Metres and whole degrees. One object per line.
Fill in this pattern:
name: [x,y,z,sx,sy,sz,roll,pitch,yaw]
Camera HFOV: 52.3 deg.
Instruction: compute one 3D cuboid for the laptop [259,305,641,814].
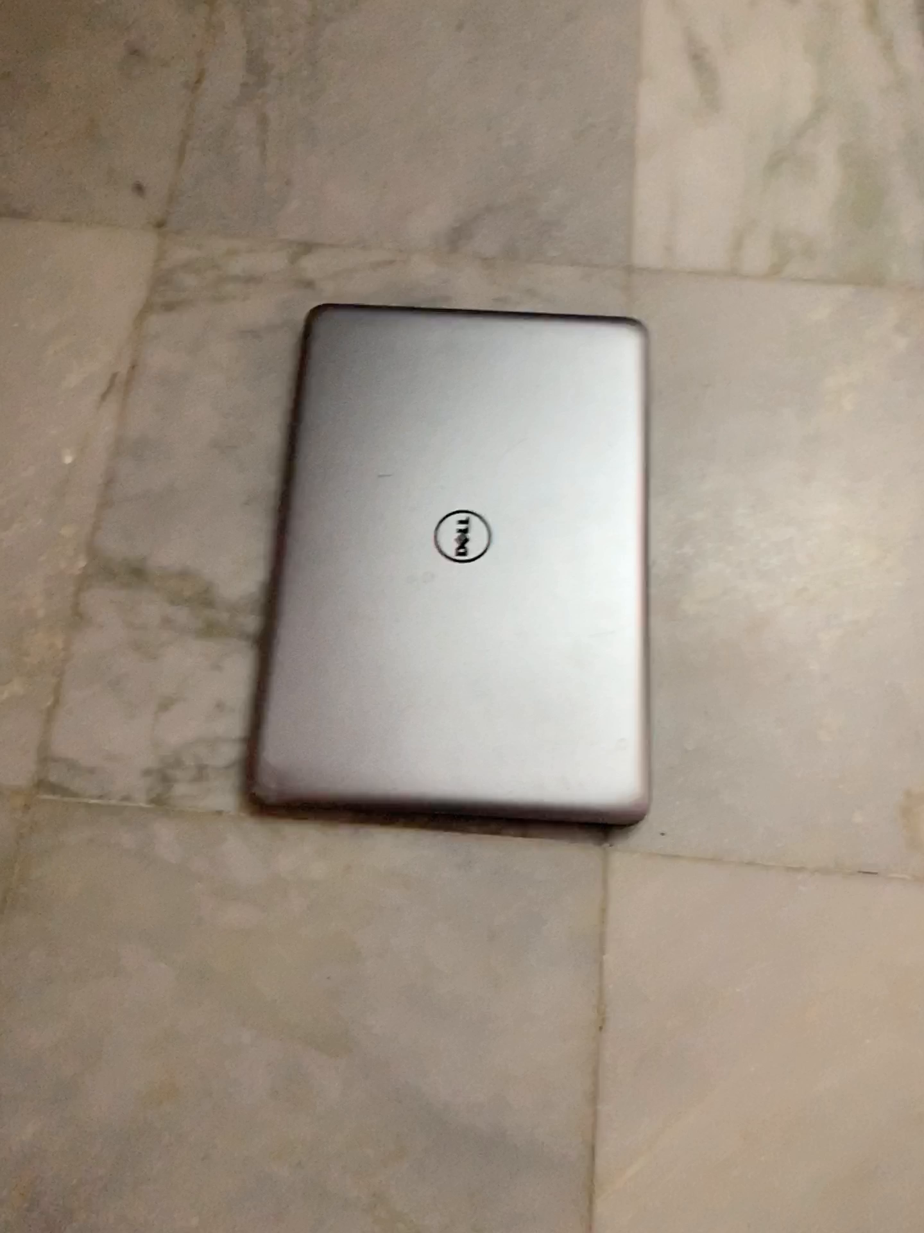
laptop: [0.001,-0.052,0.627,0.234,0.001,0.351,3,73,1]
